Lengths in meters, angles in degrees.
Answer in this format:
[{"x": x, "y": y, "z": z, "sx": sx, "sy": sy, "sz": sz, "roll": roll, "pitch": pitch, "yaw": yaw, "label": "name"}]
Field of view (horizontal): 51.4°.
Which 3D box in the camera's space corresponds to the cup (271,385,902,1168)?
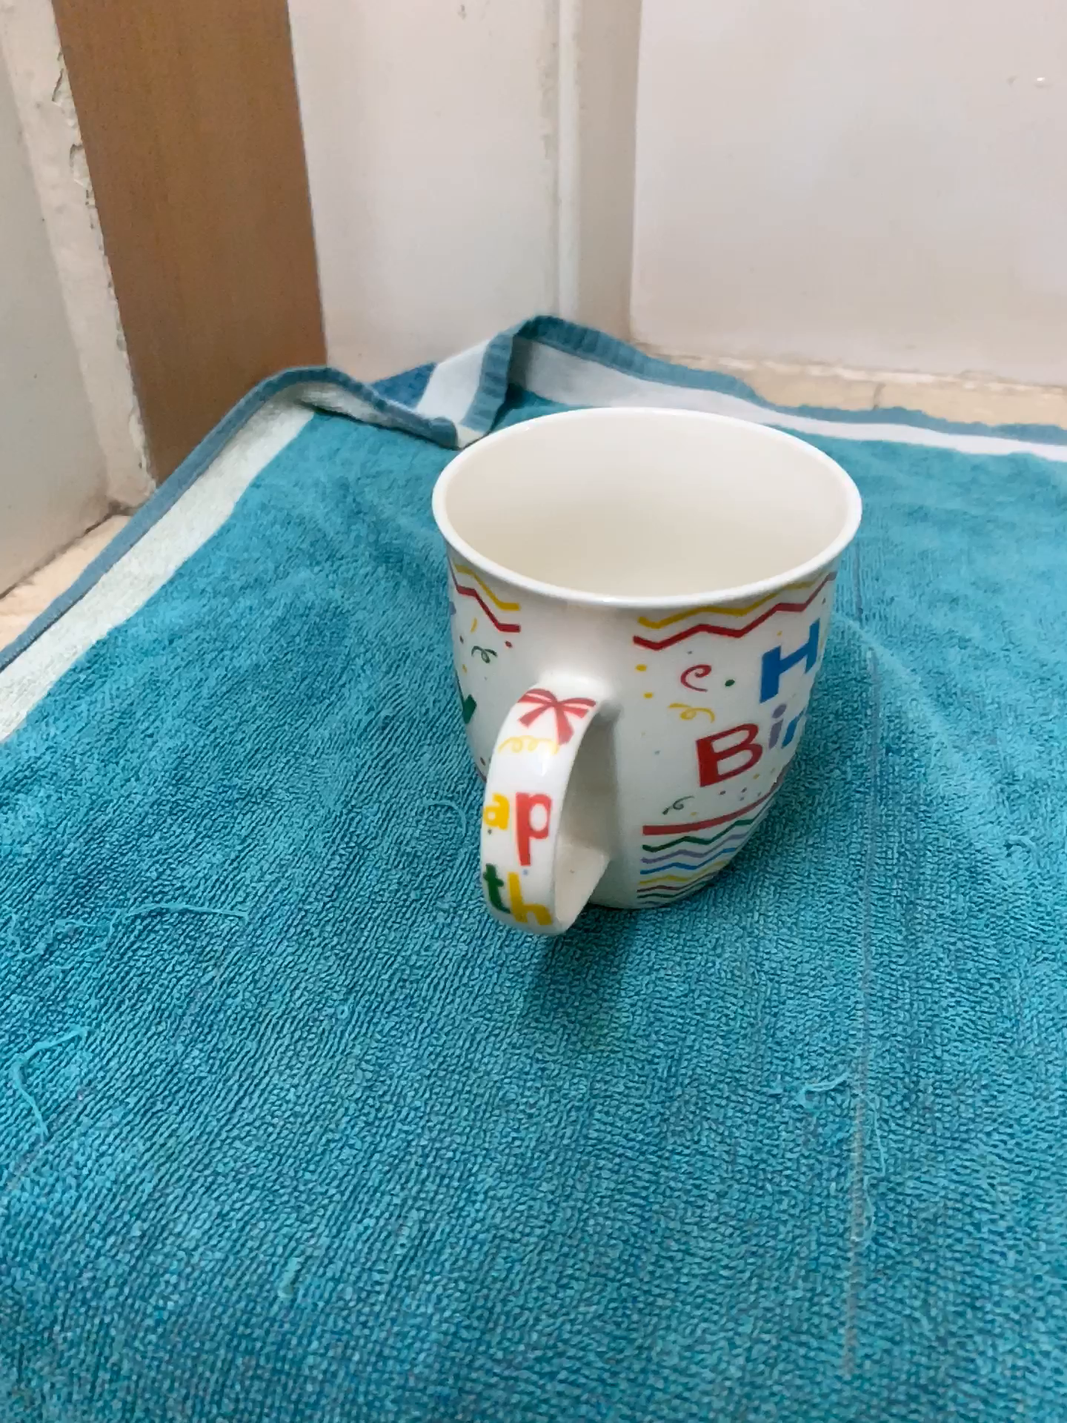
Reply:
[{"x": 0.021, "y": 0.003, "z": 0.247, "sx": 0.090, "sy": 0.099, "sz": 0.131, "roll": 11, "pitch": 38, "yaw": 16, "label": "cup"}]
